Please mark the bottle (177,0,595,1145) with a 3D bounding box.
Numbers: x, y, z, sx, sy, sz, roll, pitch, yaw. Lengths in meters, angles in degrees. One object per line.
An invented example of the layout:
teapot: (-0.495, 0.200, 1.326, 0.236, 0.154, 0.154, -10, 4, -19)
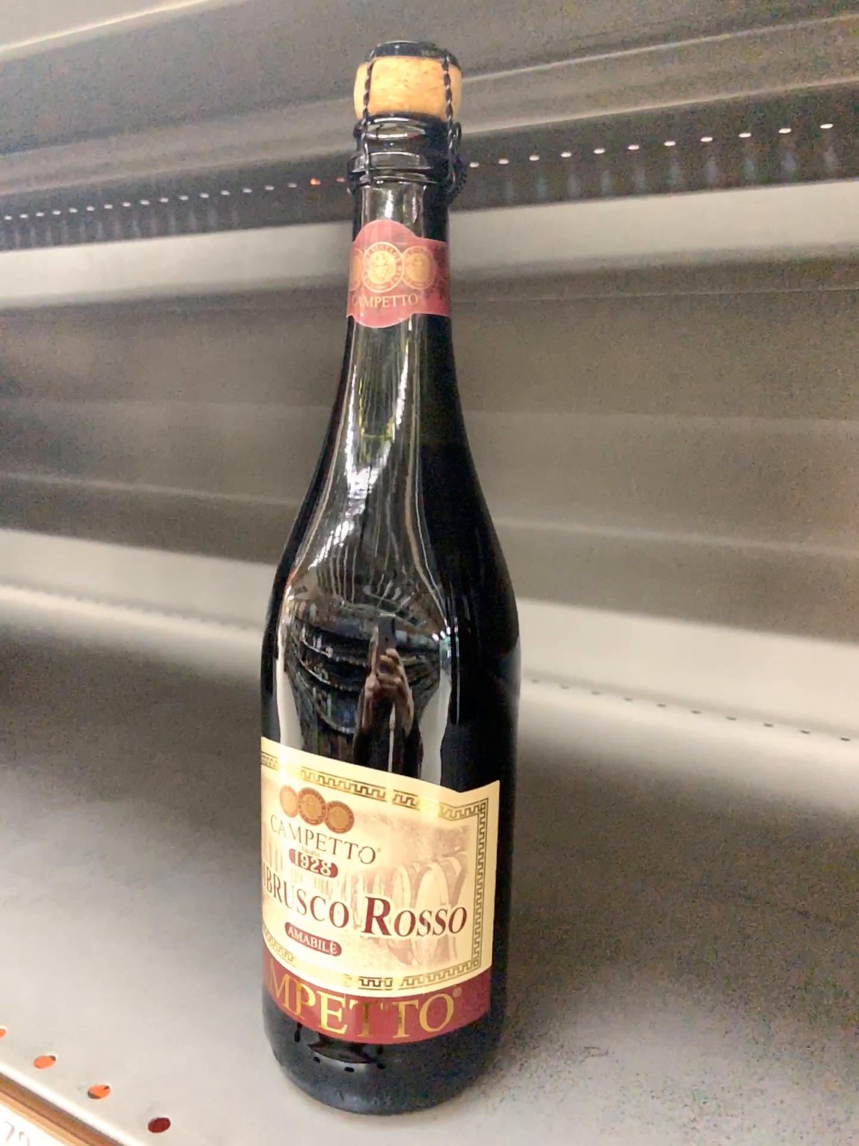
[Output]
bottle: (-0.014, 0.003, 0.275, 0.090, 0.299, 0.080, 7, 10, 26)
